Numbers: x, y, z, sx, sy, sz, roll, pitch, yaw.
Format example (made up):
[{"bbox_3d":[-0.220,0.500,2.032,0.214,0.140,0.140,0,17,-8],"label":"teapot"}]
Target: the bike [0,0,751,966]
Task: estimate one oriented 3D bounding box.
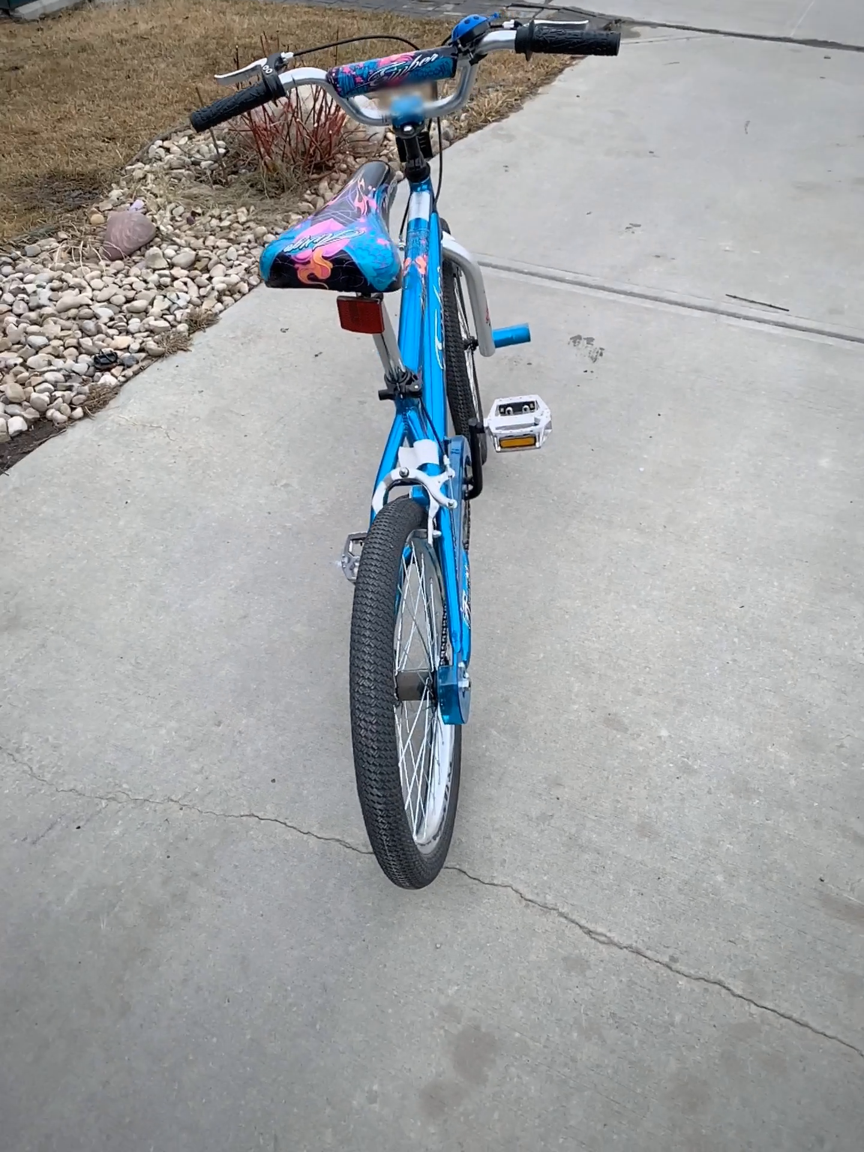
[{"bbox_3d":[-0.110,-0.298,1.365,0.680,0.837,1.393,1,45,3],"label":"bike"}]
